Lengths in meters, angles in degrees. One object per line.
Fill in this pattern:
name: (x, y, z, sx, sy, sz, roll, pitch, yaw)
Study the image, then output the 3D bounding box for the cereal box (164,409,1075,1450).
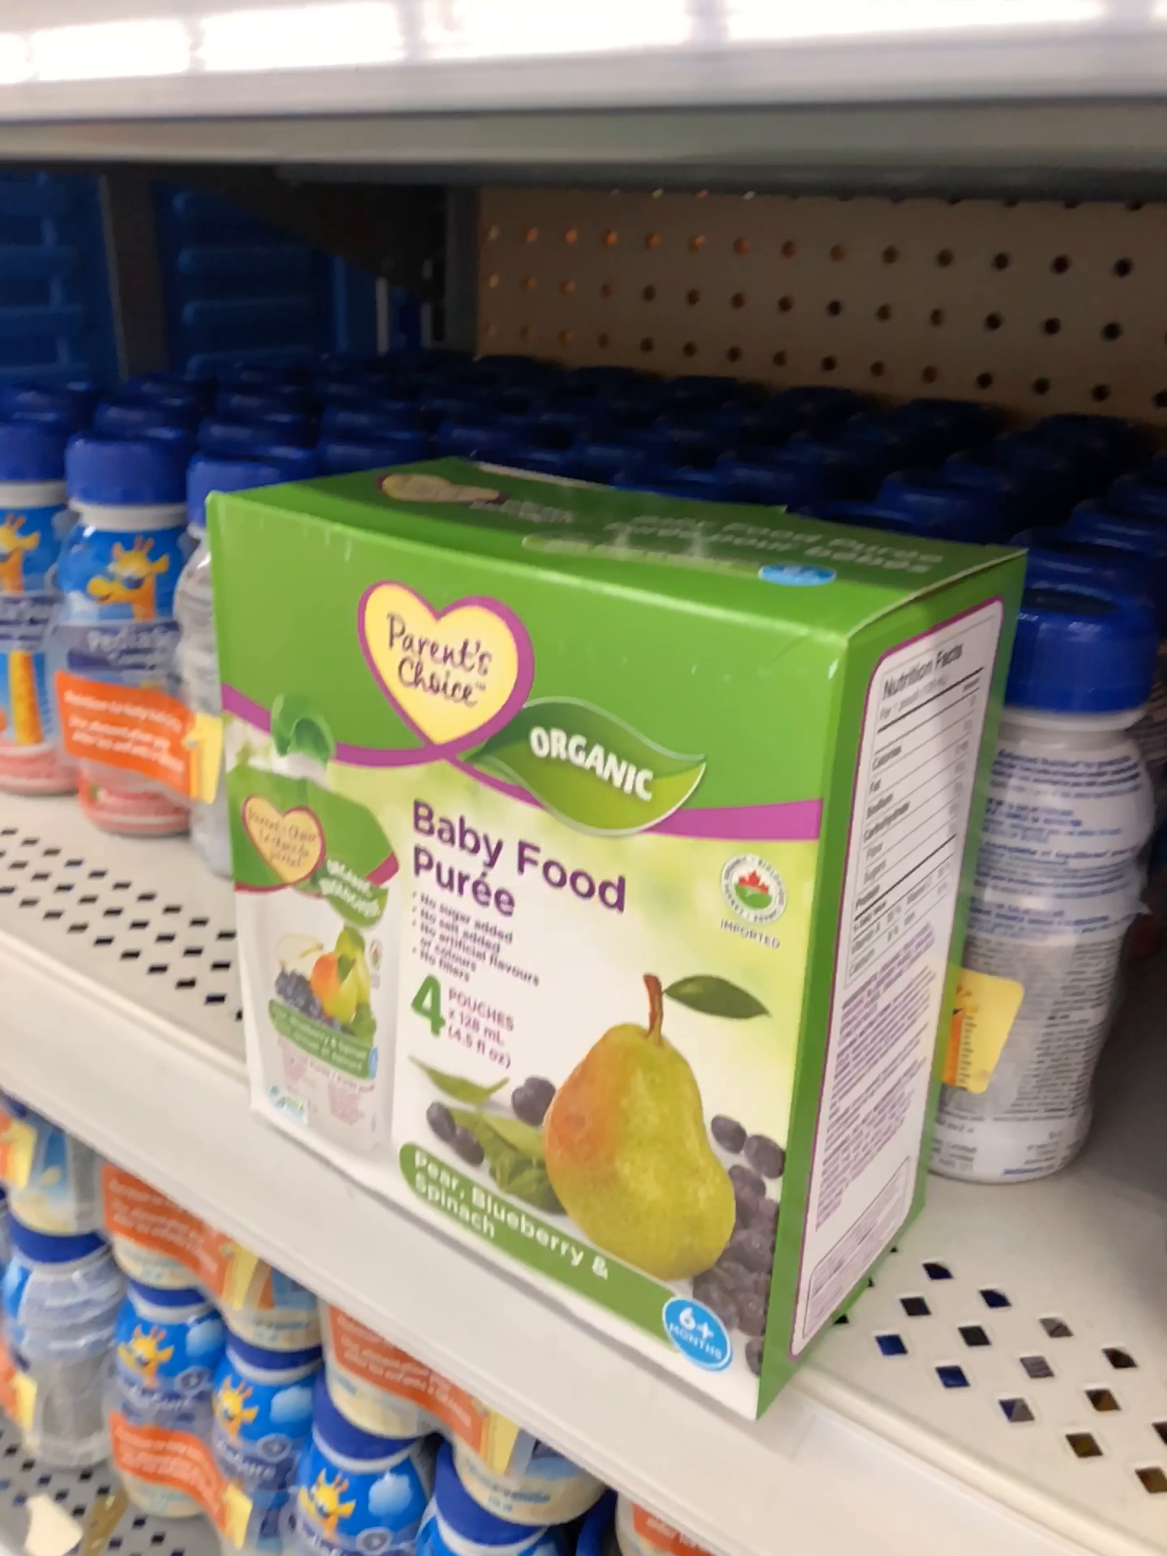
cereal box: (0.001, 0.016, 0.280, 0.150, 0.159, 0.090, 19, 28, 32)
